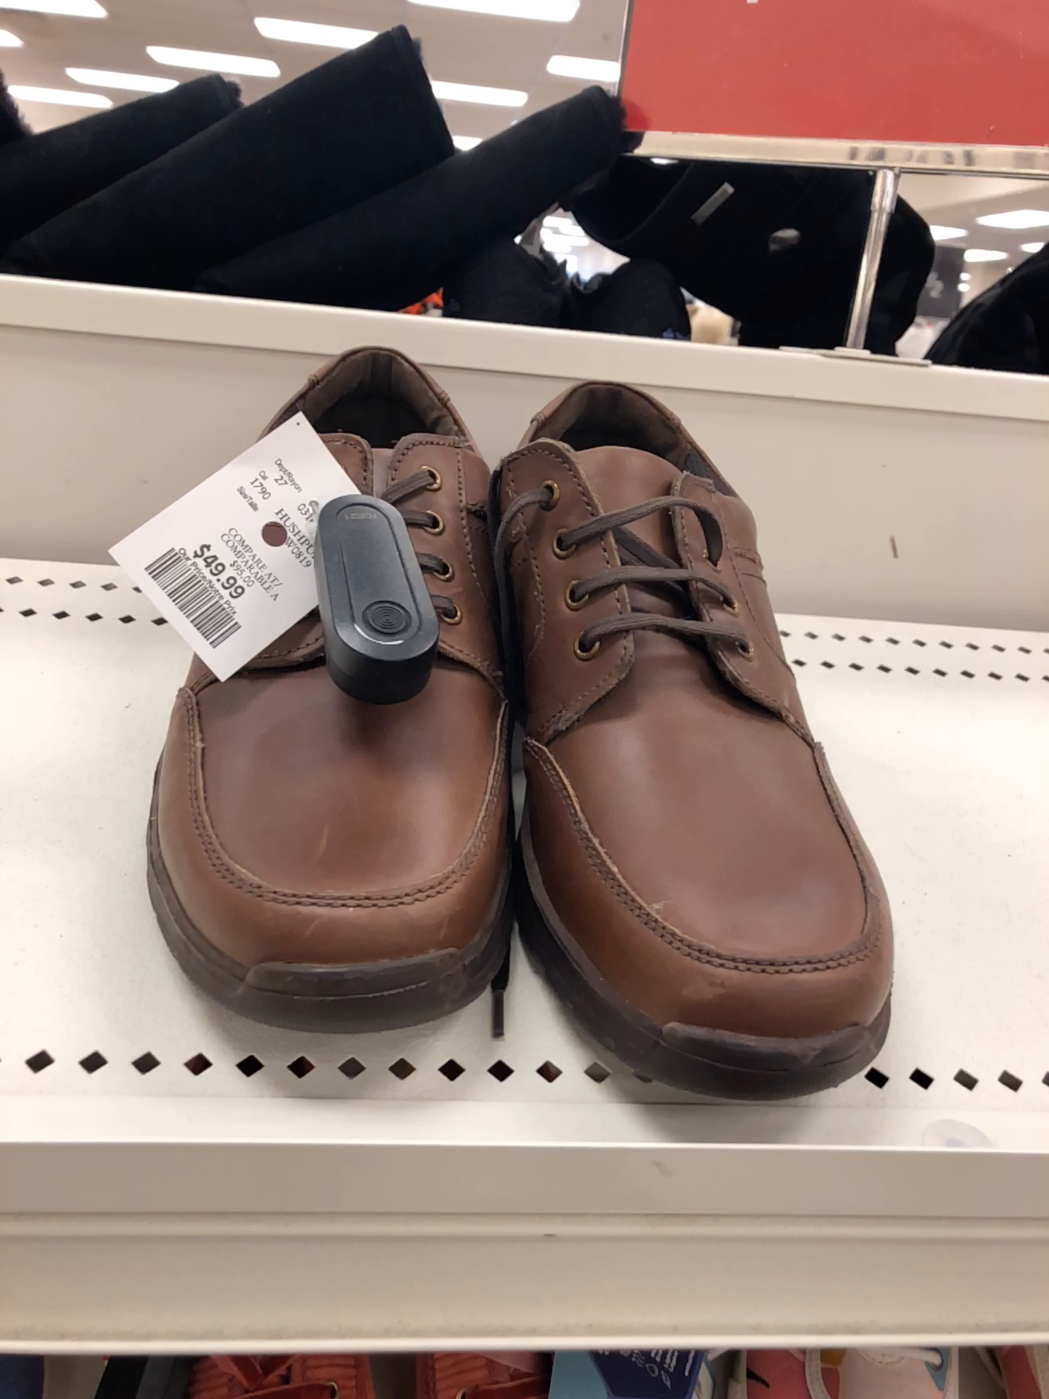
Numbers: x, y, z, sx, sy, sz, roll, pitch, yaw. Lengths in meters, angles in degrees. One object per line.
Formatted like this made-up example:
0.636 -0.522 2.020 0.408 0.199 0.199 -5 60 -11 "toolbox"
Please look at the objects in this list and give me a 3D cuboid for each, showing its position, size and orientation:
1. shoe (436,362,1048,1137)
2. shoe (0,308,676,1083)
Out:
0.048 -0.027 0.380 0.120 0.109 0.342 2 23 -10 "shoe"
-0.055 -0.041 0.372 0.120 0.109 0.332 3 25 -8 "shoe"
